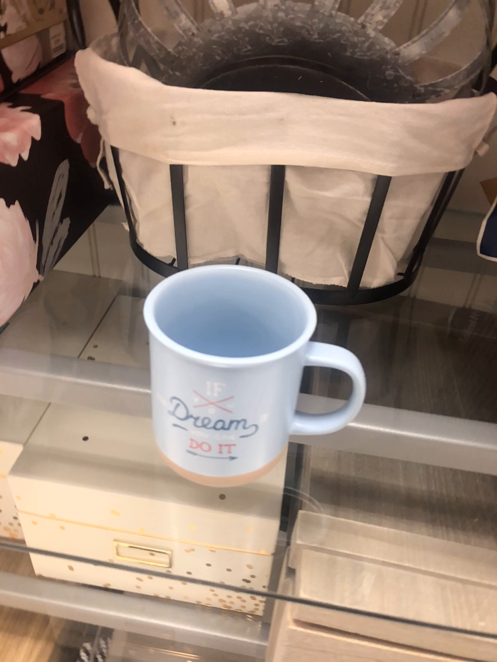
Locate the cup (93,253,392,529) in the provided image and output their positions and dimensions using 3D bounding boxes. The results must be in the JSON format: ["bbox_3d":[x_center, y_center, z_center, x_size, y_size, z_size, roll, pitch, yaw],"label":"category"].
[{"bbox_3d":[0.000,0.032,0.320,0.139,0.100,0.100,8,37,4],"label":"cup"}]
